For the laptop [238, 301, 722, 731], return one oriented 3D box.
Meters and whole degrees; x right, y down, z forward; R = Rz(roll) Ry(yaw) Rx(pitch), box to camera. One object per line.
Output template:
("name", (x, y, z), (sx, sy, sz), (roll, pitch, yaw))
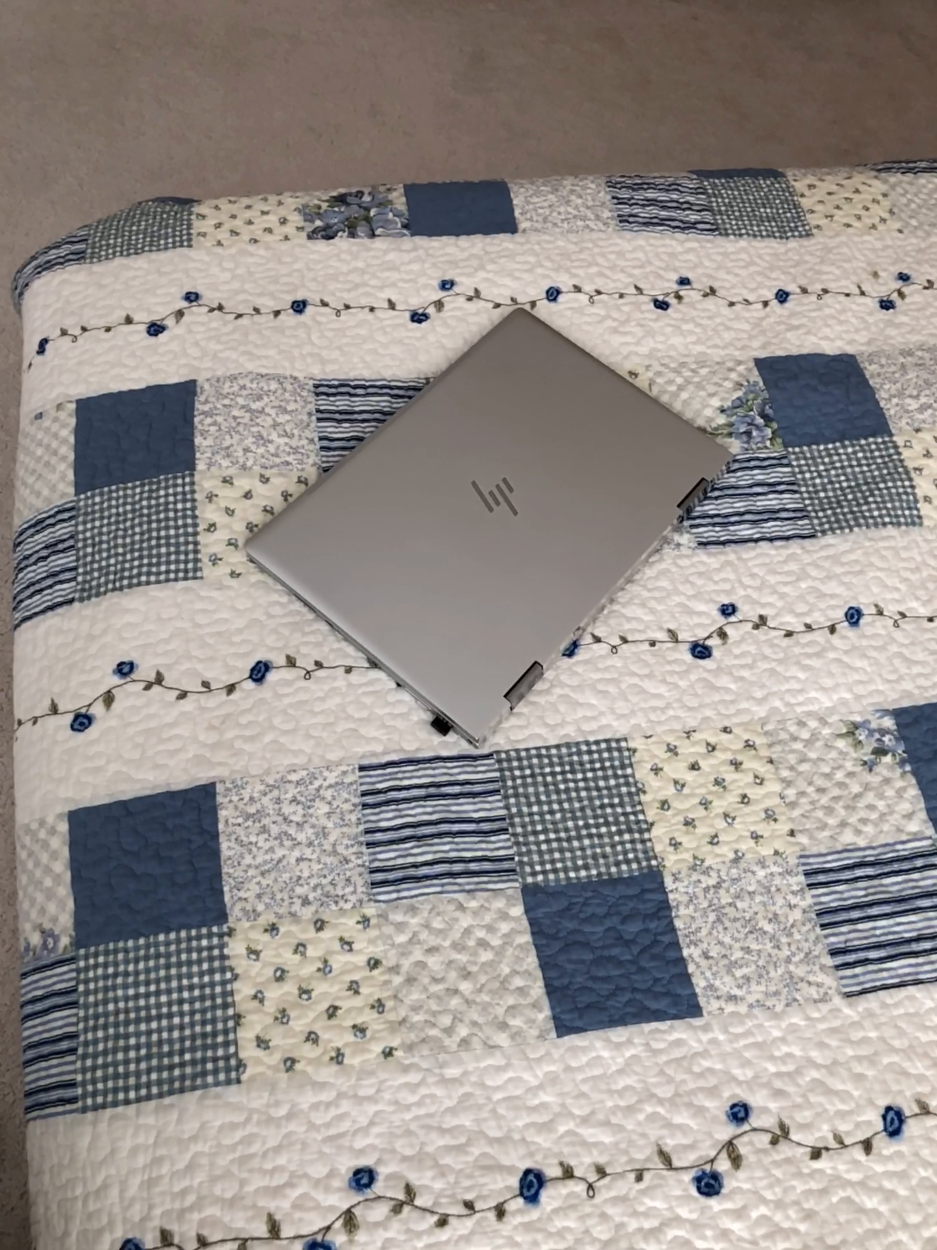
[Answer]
("laptop", (0.025, -0.120, 0.937), (0.256, 0.011, 0.386), (38, 64, 10))
